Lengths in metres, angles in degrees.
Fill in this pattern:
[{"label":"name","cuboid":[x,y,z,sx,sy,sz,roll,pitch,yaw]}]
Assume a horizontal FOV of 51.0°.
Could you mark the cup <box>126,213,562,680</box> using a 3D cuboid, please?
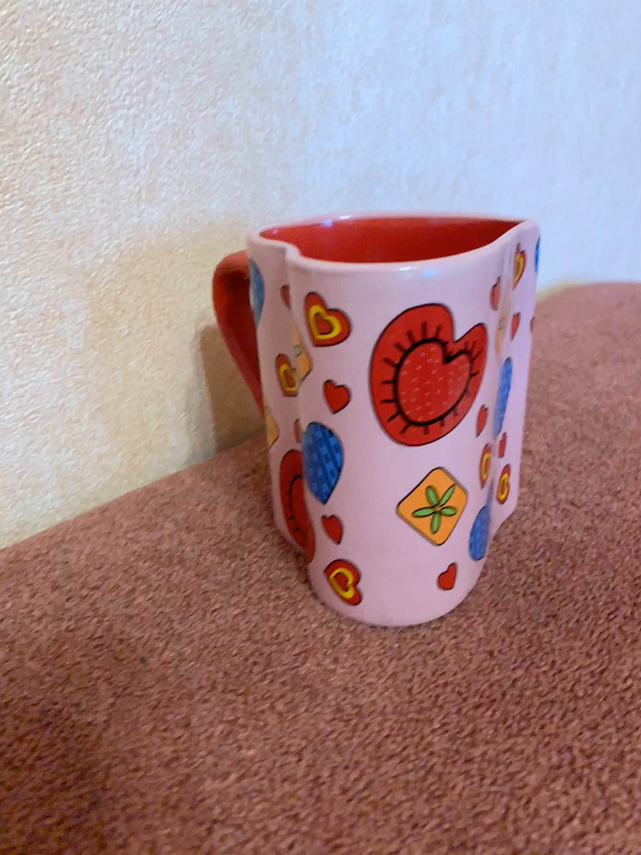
[{"label":"cup","cuboid":[0.014,-0.006,0.186,0.082,0.091,0.085,-2,24,1]}]
